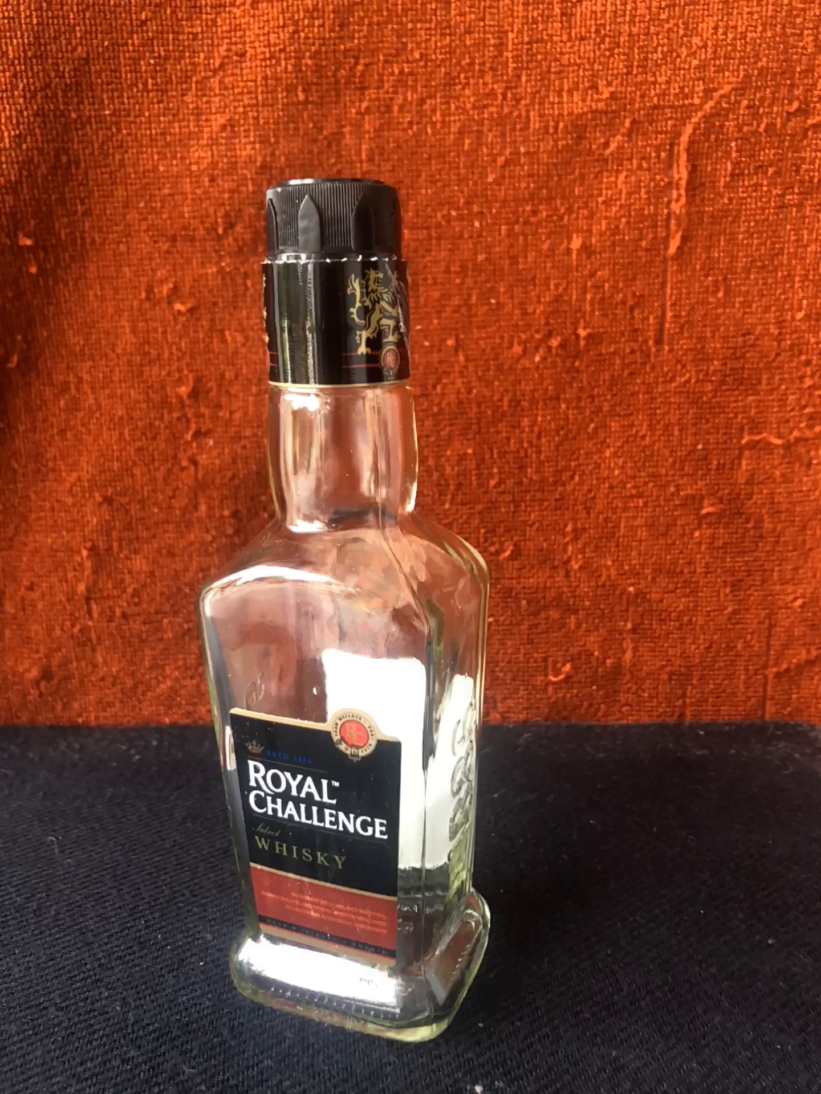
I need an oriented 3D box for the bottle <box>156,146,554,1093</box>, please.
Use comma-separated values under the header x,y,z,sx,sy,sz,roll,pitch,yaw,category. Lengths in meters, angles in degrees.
x,y,z,sx,sy,sz,roll,pitch,yaw,category
-0.009,0.019,0.200,0.060,0.189,0.050,7,17,19,bottle
